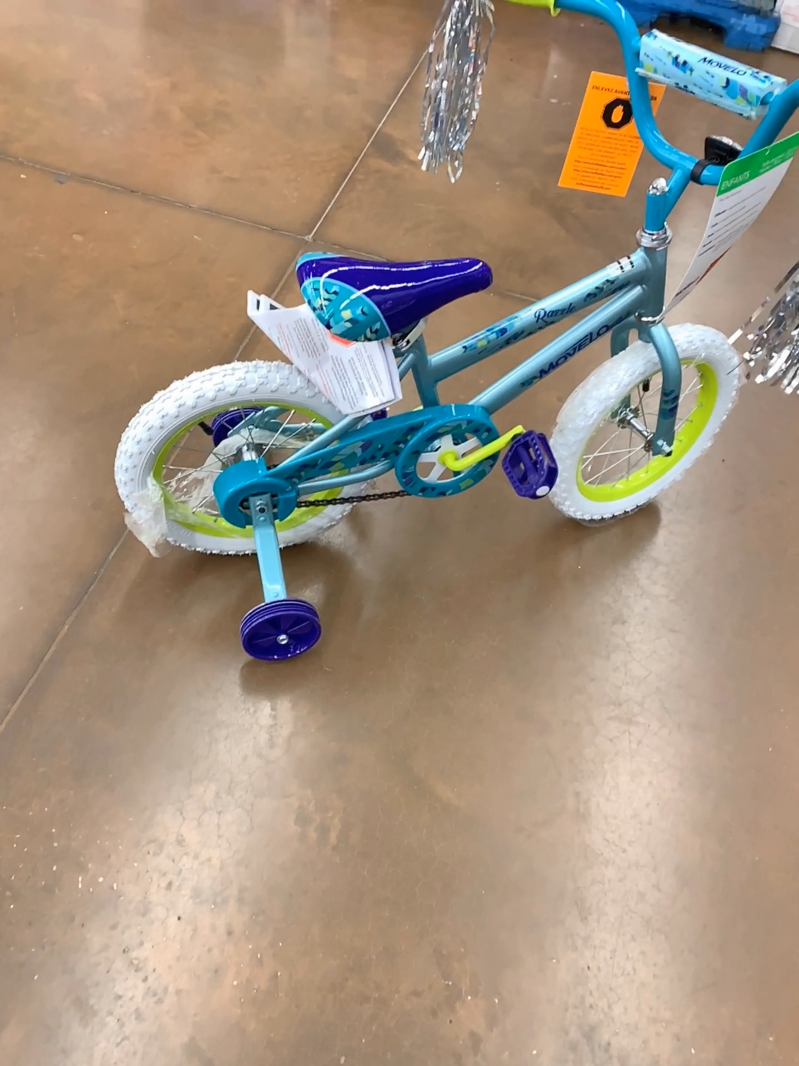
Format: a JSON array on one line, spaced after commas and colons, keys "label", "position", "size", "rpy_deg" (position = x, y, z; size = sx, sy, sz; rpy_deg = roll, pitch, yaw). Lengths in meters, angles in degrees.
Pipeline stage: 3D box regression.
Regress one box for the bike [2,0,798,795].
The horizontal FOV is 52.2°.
[{"label": "bike", "position": [0.119, -0.227, 0.950], "size": [0.860, 0.639, 0.624], "rpy_deg": [-12, 54, -19]}]
